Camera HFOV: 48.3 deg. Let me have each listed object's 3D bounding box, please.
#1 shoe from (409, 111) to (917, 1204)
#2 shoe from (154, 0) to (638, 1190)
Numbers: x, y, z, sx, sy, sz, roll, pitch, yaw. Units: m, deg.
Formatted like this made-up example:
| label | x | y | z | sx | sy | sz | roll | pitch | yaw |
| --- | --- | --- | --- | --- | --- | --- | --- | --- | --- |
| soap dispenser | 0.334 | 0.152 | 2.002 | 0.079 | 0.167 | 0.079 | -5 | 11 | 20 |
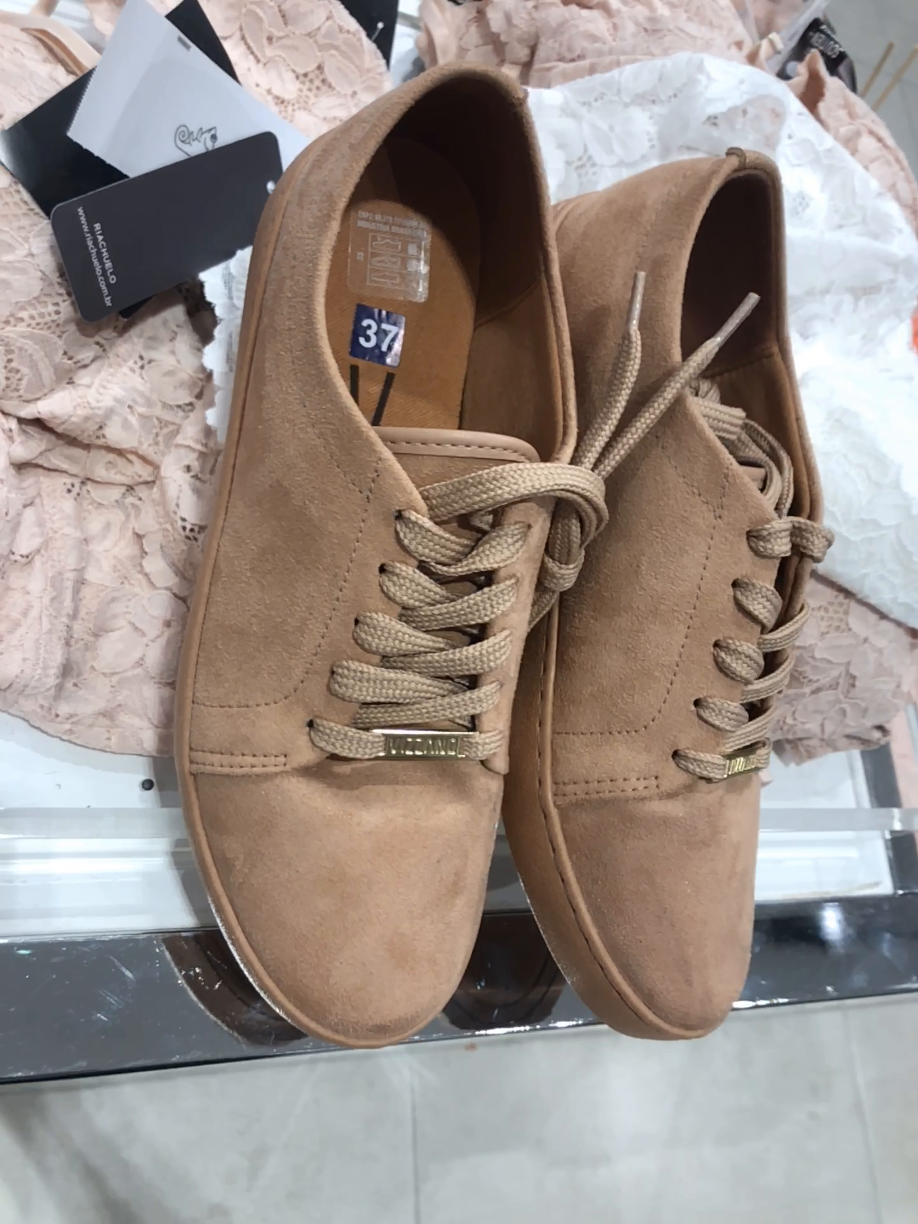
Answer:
| label | x | y | z | sx | sy | sz | roll | pitch | yaw |
| --- | --- | --- | --- | --- | --- | --- | --- | --- | --- |
| shoe | 0.063 | 0.010 | 0.291 | 0.090 | 0.099 | 0.240 | -3 | 86 | -42 |
| shoe | -0.021 | -0.005 | 0.268 | 0.090 | 0.100 | 0.240 | 3 | 87 | -25 |
